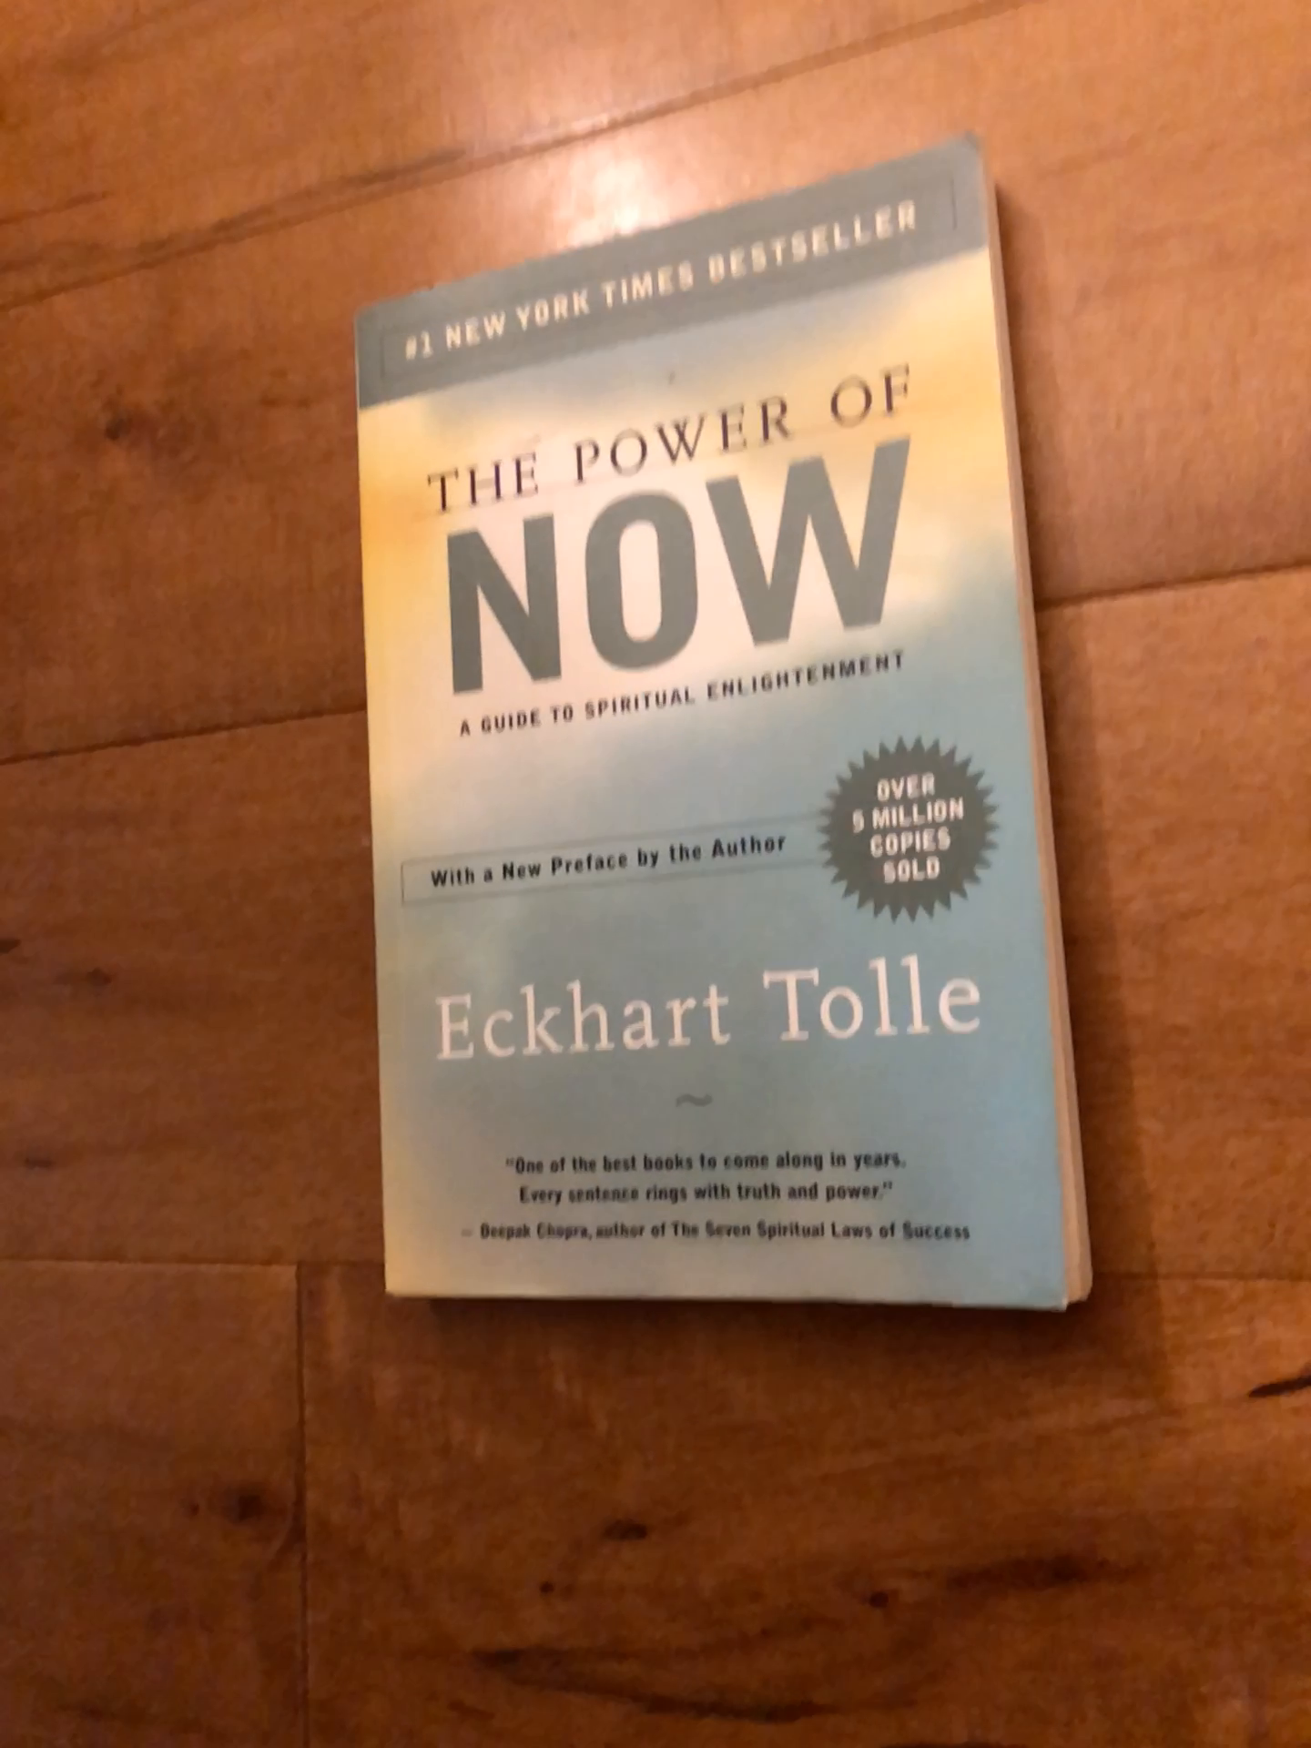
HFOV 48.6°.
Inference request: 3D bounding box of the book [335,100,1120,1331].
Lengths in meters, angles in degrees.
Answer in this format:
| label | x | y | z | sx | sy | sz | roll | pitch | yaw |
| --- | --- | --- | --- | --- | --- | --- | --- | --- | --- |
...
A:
| label | x | y | z | sx | sy | sz | roll | pitch | yaw |
| --- | --- | --- | --- | --- | --- | --- | --- | --- | --- |
| book | 0.007 | -0.026 | 0.296 | 0.147 | 0.030 | 0.222 | -6 | 81 | 22 |
